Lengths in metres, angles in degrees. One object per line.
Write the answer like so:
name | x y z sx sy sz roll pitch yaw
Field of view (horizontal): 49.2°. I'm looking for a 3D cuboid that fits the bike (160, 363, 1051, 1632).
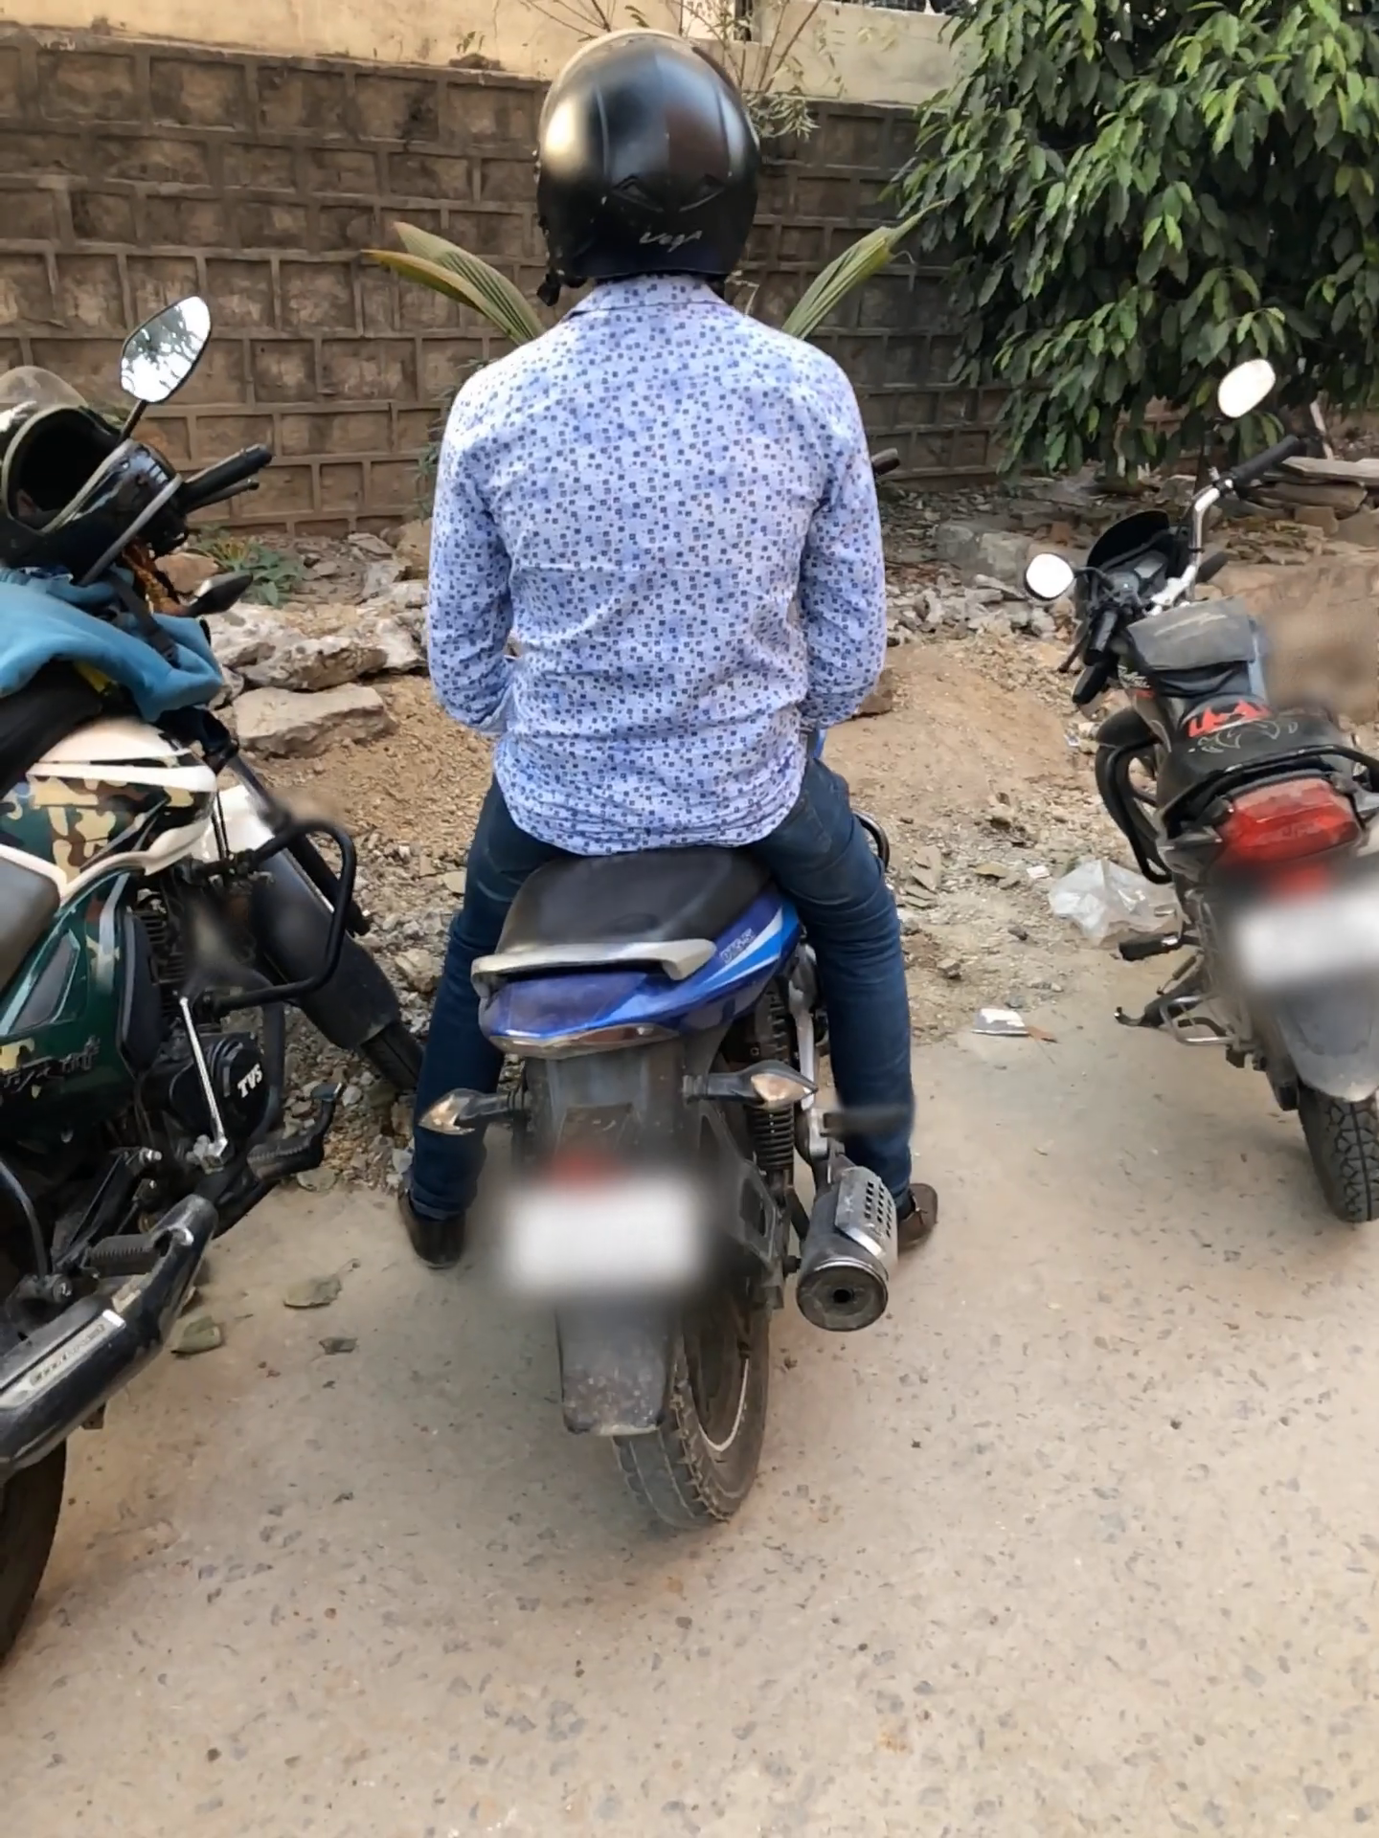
bike | -0.038 -0.091 2.187 0.753 1.076 1.585 4 28 3
